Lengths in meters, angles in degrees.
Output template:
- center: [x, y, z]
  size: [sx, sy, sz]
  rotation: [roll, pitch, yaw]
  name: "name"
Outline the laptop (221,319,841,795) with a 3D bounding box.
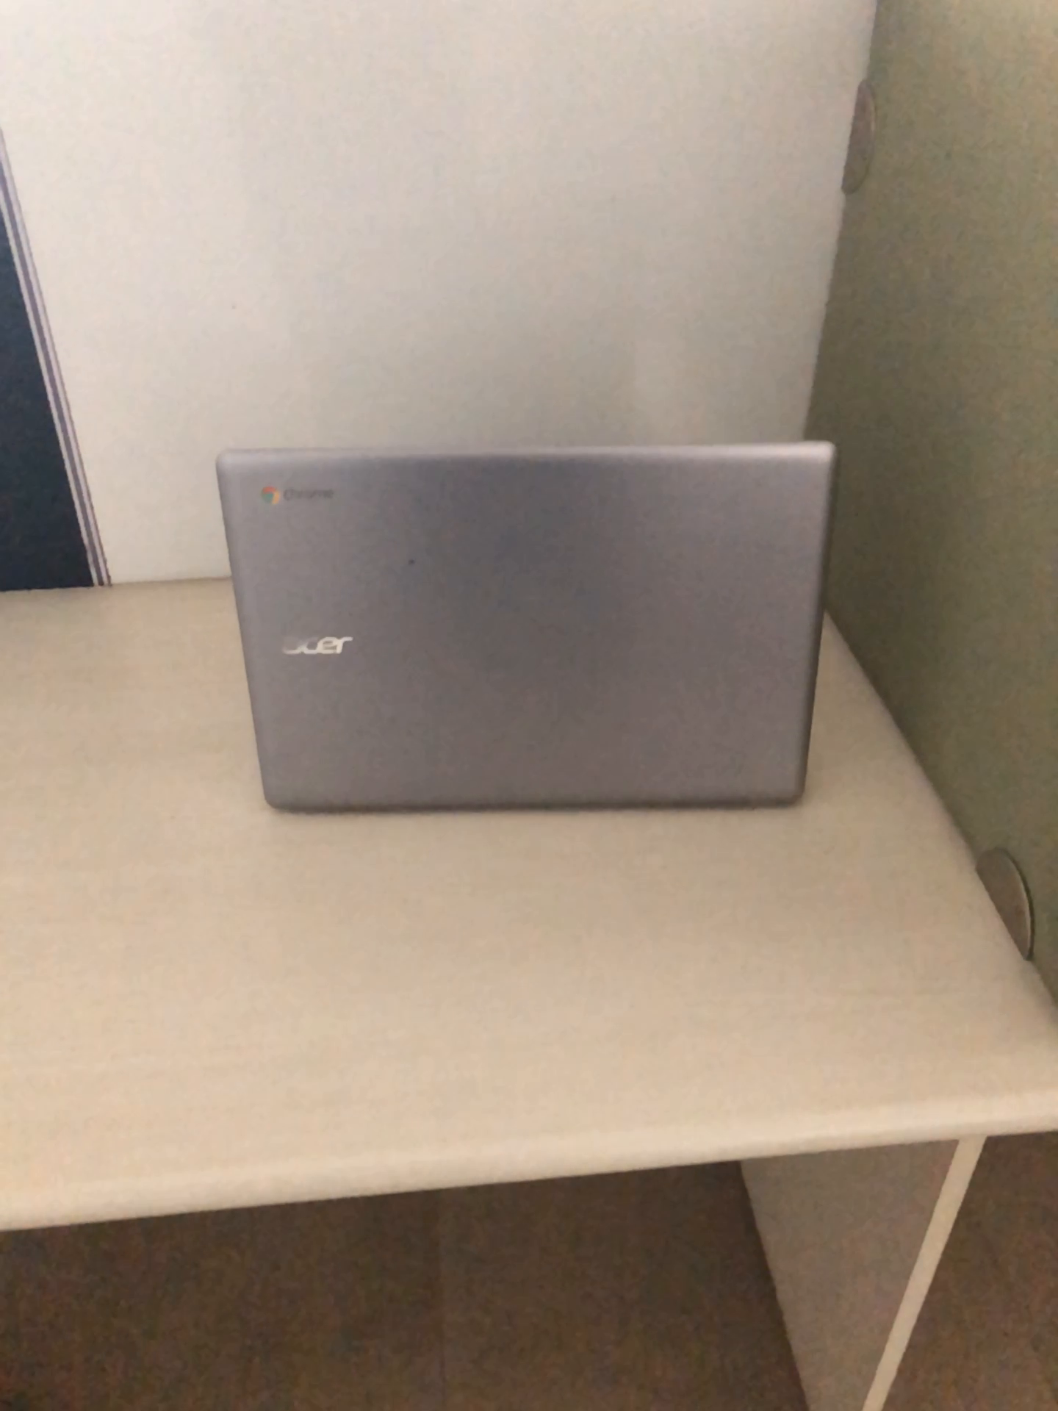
- center: [0.007, -0.100, 0.753]
  size: [0.321, 0.218, 0.222]
  rotation: [1, 35, -2]
  name: "laptop"
